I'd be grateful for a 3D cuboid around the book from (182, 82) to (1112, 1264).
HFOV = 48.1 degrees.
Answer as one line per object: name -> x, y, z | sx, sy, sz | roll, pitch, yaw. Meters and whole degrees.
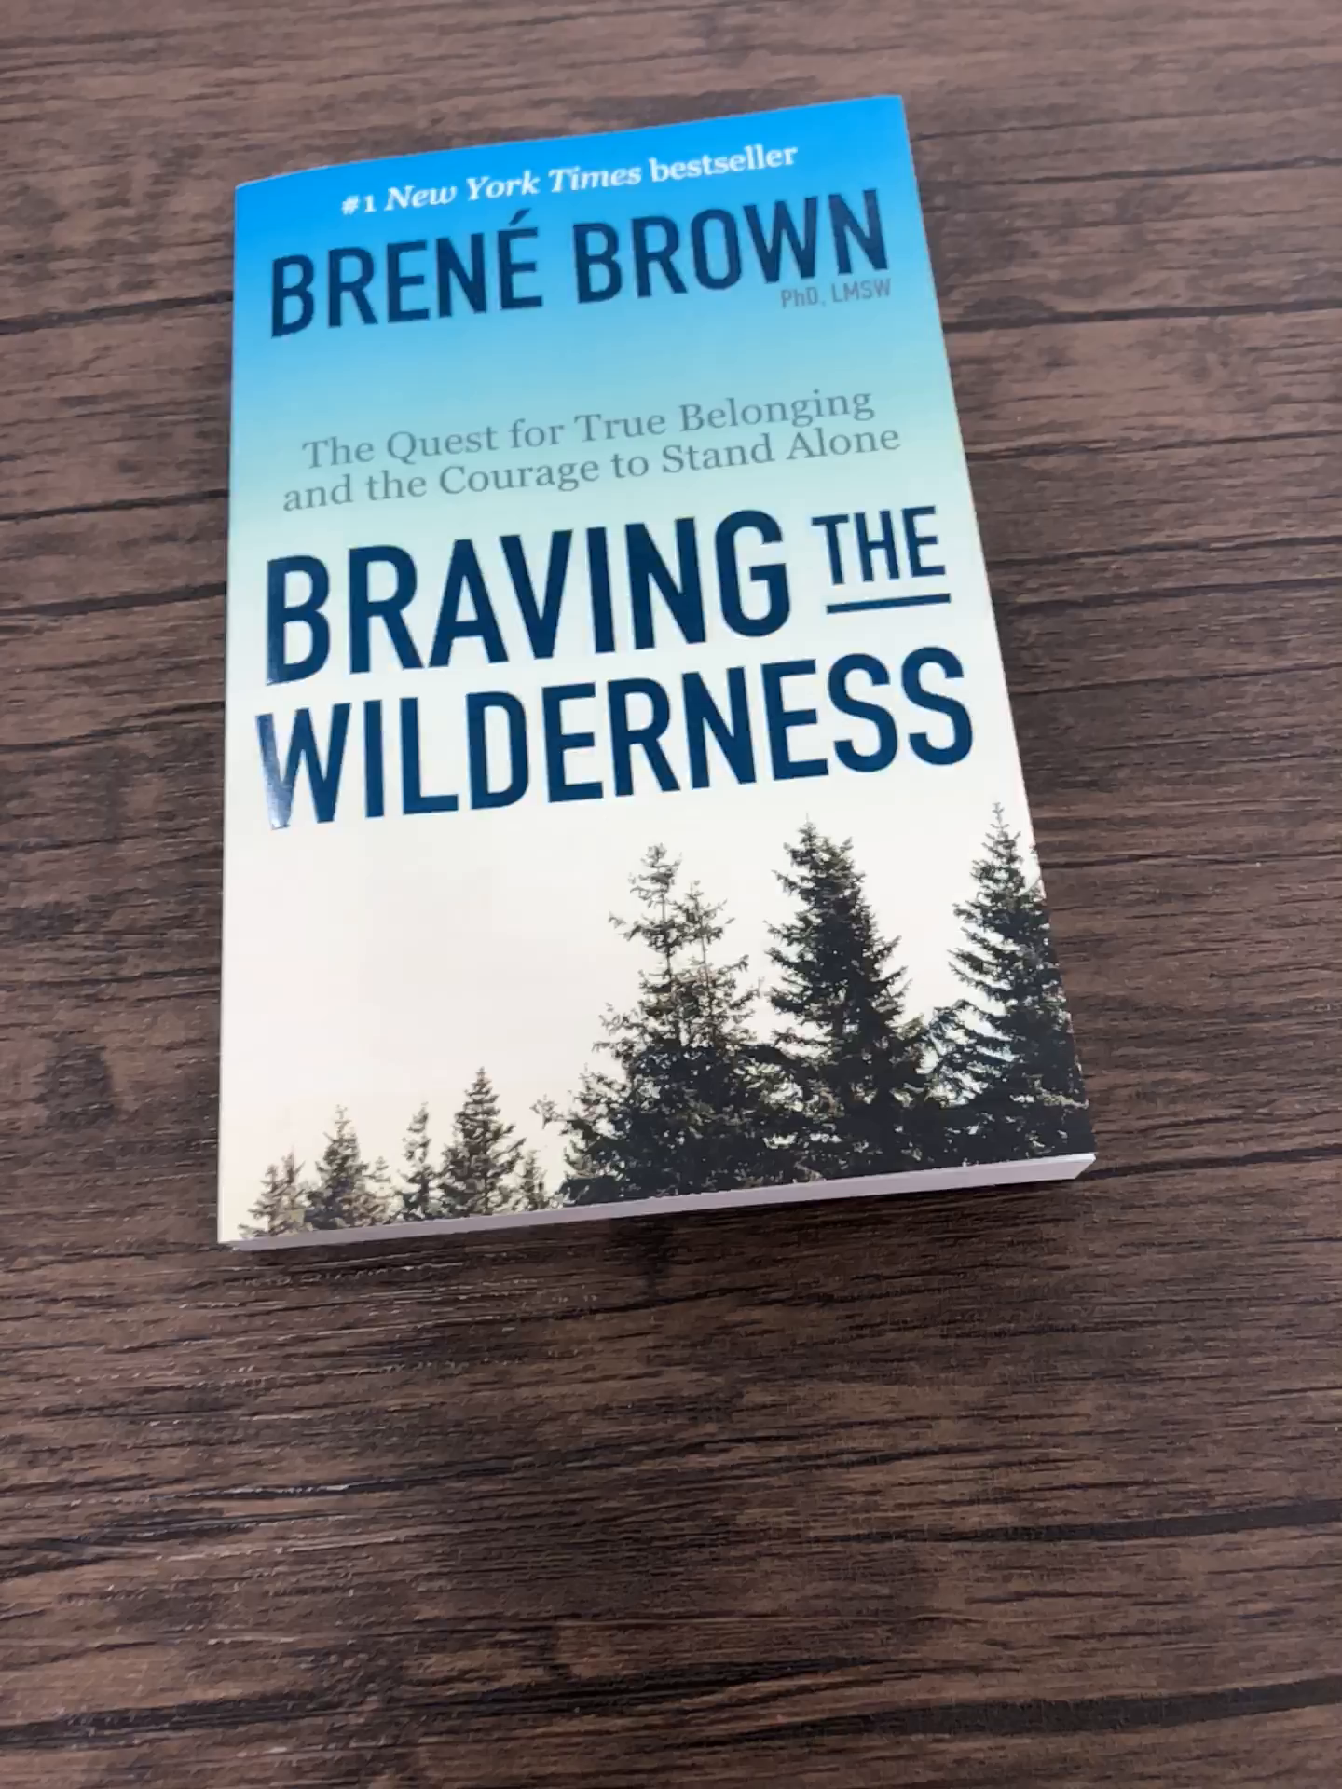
book -> -0.012, -0.044, 0.249 | 0.130, 0.021, 0.192 | -6, 71, 2
